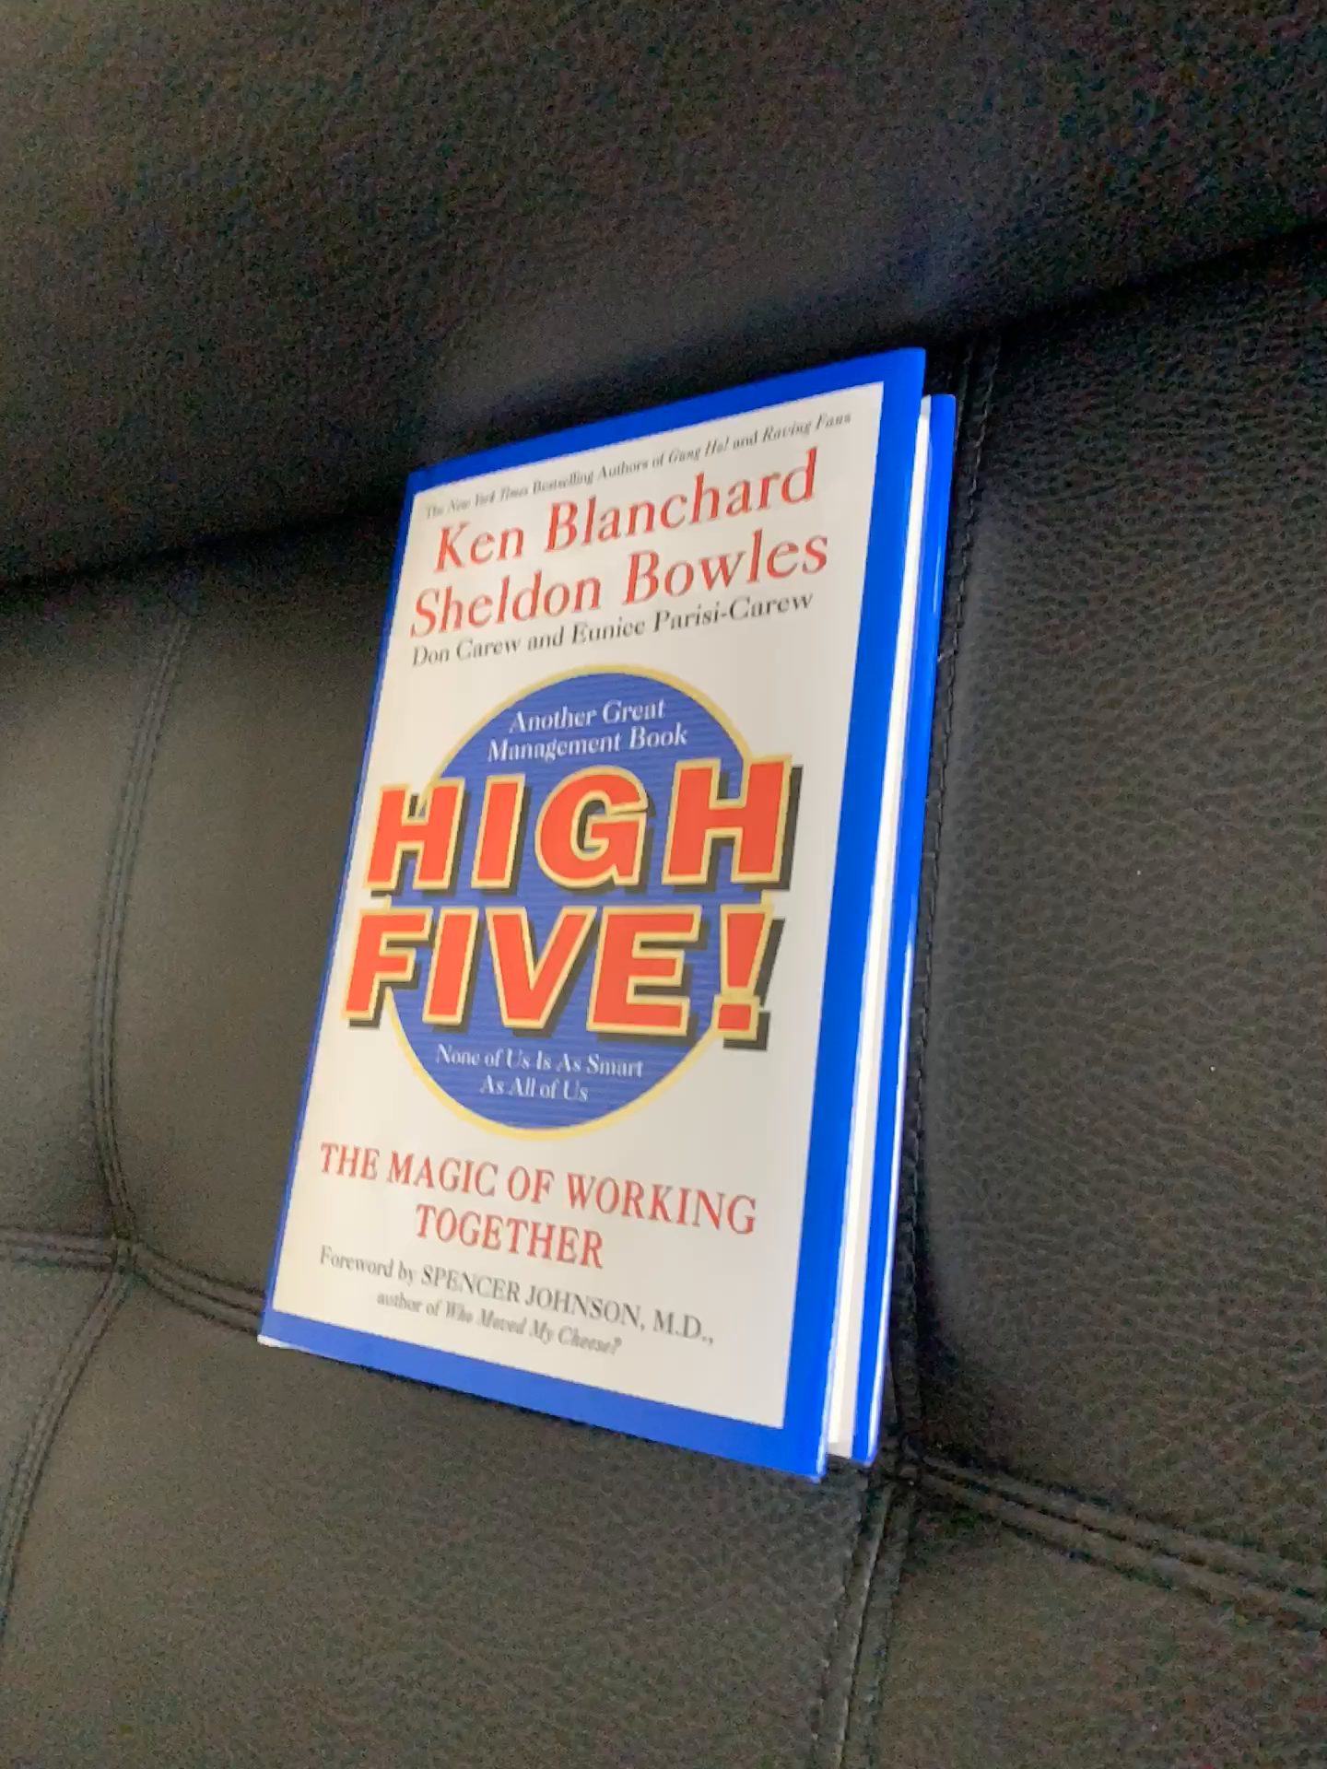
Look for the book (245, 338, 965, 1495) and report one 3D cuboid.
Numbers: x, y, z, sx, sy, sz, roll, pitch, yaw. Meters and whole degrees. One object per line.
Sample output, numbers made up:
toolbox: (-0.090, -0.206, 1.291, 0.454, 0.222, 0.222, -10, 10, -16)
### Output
book: (-0.016, 0.000, 0.306, 0.151, 0.023, 0.220, -1, 76, 33)
